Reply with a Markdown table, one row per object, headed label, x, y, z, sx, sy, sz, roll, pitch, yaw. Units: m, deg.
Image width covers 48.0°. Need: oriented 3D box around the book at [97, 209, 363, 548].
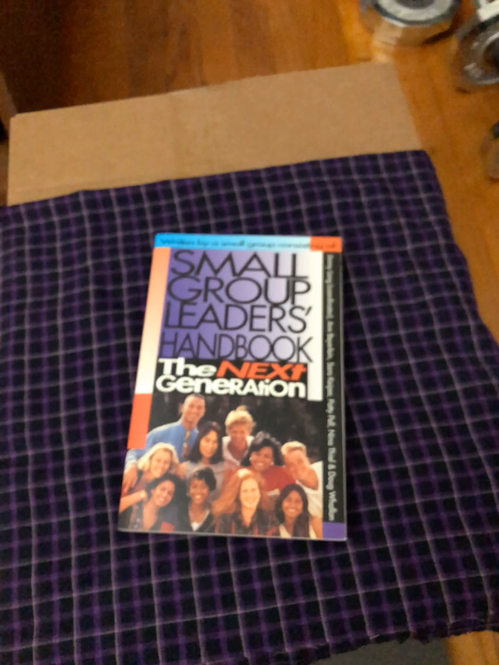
| label | x | y | z | sx | sy | sz | roll | pitch | yaw |
| --- | --- | --- | --- | --- | --- | --- | --- | --- | --- |
| book | -0.007 | 0.021 | 0.370 | 0.150 | 0.030 | 0.221 | 1 | 67 | 3 |
